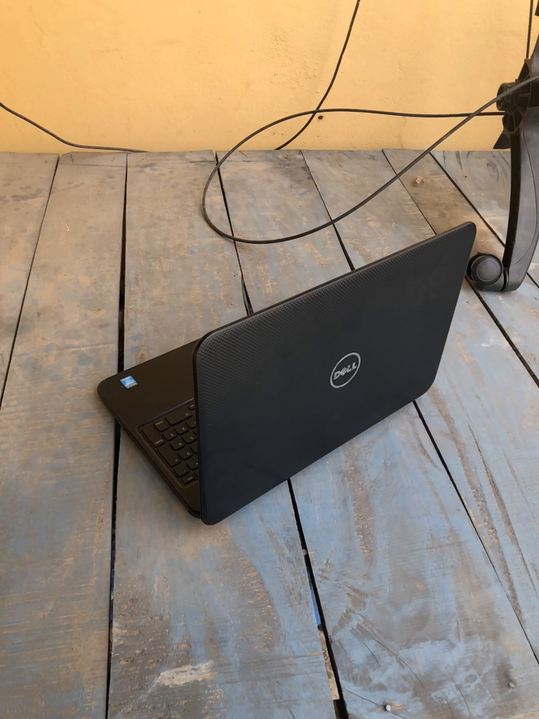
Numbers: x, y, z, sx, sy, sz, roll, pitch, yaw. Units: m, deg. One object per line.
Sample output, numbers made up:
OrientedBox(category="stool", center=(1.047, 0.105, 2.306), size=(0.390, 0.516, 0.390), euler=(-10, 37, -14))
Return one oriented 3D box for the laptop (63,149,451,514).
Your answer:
OrientedBox(category="laptop", center=(-0.010, -0.054, 0.690), size=(0.341, 0.234, 0.225), euler=(-25, 49, -29))
